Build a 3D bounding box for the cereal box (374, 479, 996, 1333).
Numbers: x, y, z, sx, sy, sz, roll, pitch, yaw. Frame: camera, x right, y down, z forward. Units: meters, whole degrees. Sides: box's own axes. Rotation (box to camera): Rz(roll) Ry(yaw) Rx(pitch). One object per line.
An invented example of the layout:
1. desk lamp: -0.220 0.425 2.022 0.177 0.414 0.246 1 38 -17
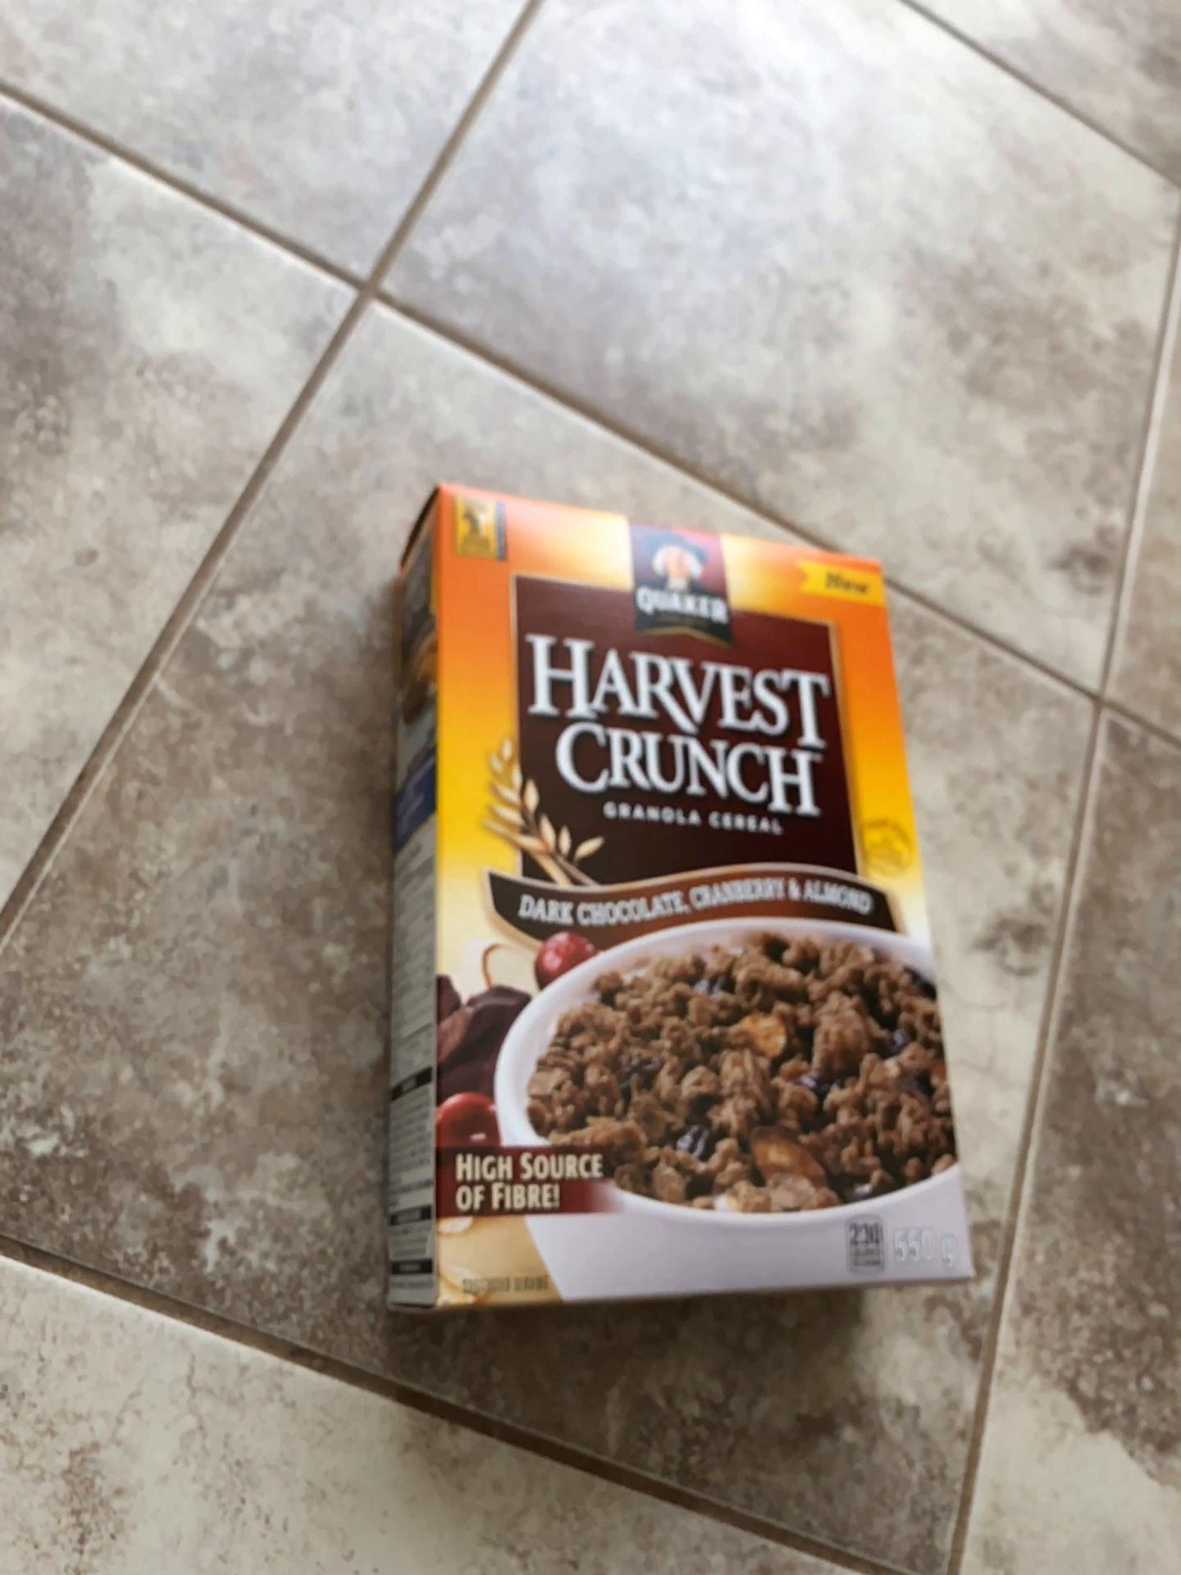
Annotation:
1. cereal box: 0.025 0.041 0.437 0.170 0.070 0.250 7 68 -21
